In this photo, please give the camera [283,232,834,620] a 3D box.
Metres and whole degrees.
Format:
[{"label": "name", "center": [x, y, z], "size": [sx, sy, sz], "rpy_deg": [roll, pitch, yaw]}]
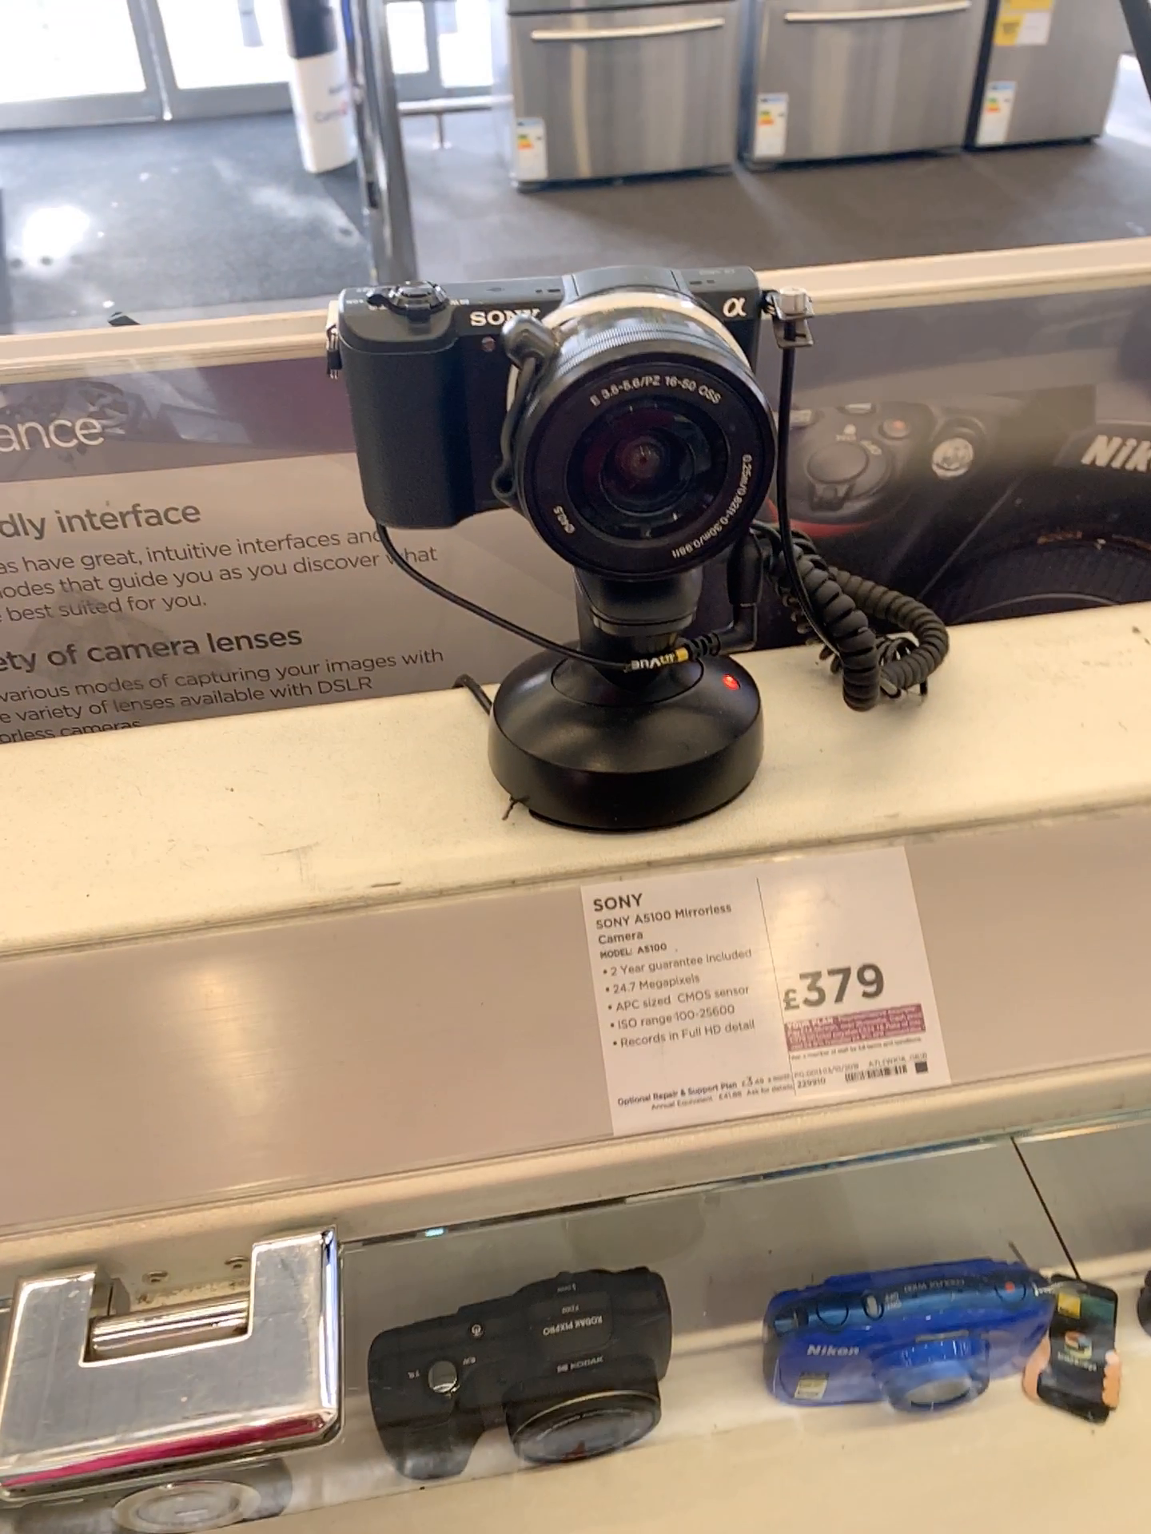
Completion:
[{"label": "camera", "center": [-0.006, -0.091, 0.306], "size": [0.120, 0.059, 0.081], "rpy_deg": [-5, 41, -4]}]
